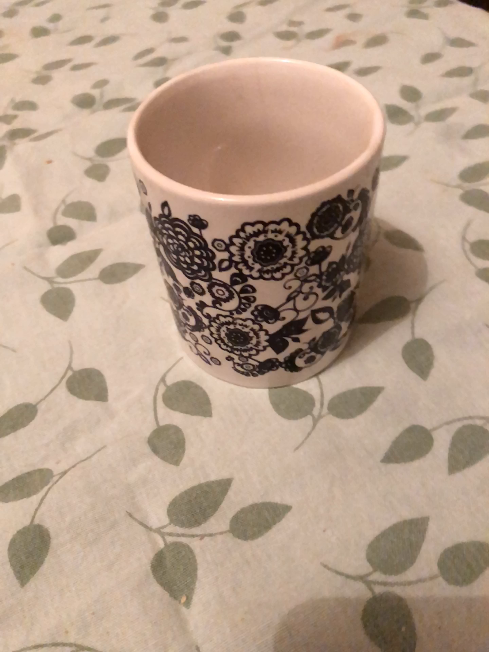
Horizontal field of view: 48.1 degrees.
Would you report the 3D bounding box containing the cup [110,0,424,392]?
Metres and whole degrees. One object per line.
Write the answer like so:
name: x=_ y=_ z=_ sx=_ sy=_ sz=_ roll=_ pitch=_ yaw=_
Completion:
cup: x=0.009 y=-0.053 z=0.216 sx=0.080 sy=0.099 sz=0.121 roll=-2 pitch=51 yaw=3
